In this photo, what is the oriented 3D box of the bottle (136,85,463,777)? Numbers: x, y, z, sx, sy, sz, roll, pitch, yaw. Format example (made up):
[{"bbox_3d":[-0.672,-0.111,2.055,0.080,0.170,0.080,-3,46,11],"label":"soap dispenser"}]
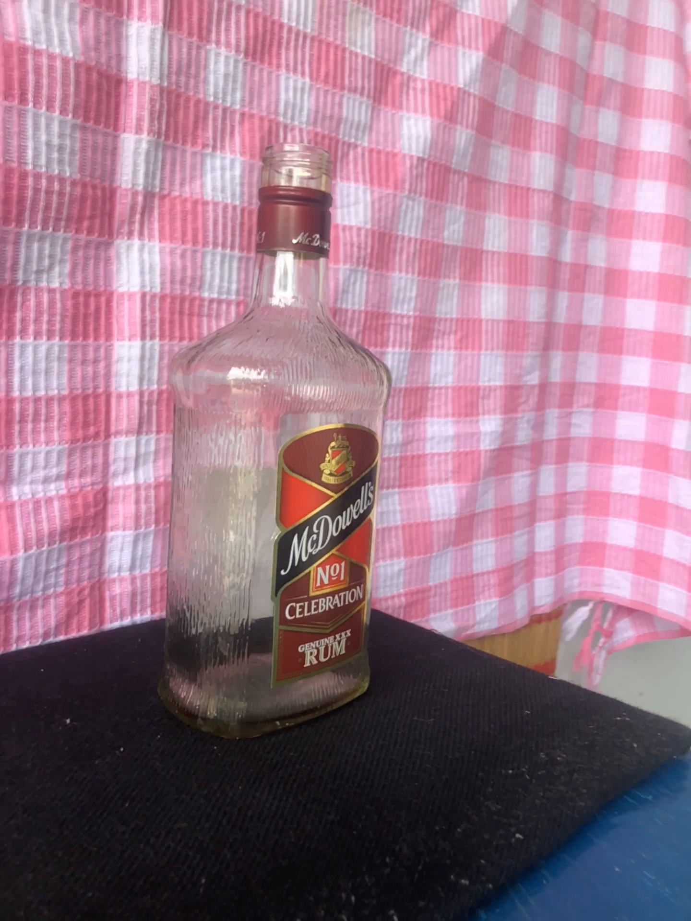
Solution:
[{"bbox_3d":[-0.019,-0.010,0.319,0.060,0.240,0.100,13,10,40],"label":"bottle"}]
